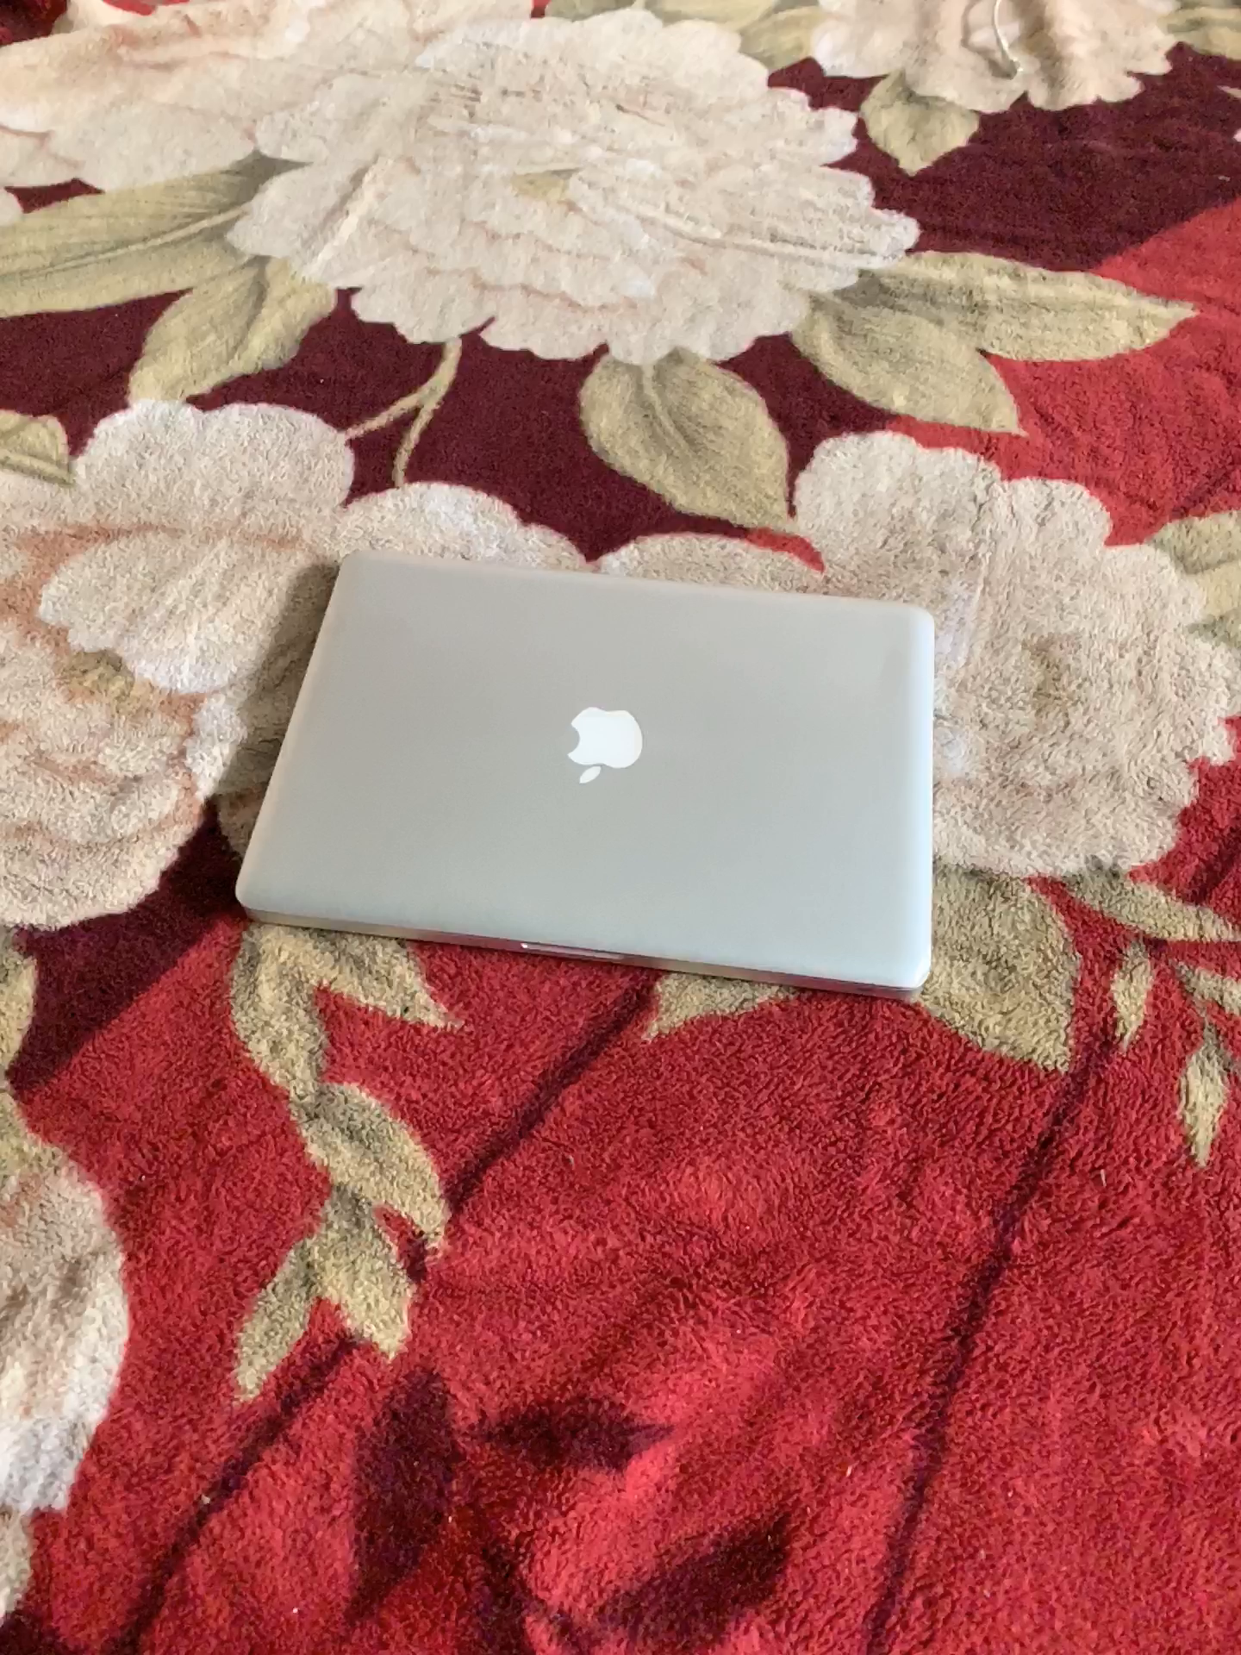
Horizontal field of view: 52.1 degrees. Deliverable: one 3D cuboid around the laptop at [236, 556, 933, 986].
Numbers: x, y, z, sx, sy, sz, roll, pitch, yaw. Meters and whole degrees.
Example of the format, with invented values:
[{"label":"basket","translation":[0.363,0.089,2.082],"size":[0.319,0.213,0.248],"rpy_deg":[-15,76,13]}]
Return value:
[{"label":"laptop","translation":[-0.006,-0.038,0.614],"size":[0.310,0.001,0.210],"rpy_deg":[6,60,4]}]
